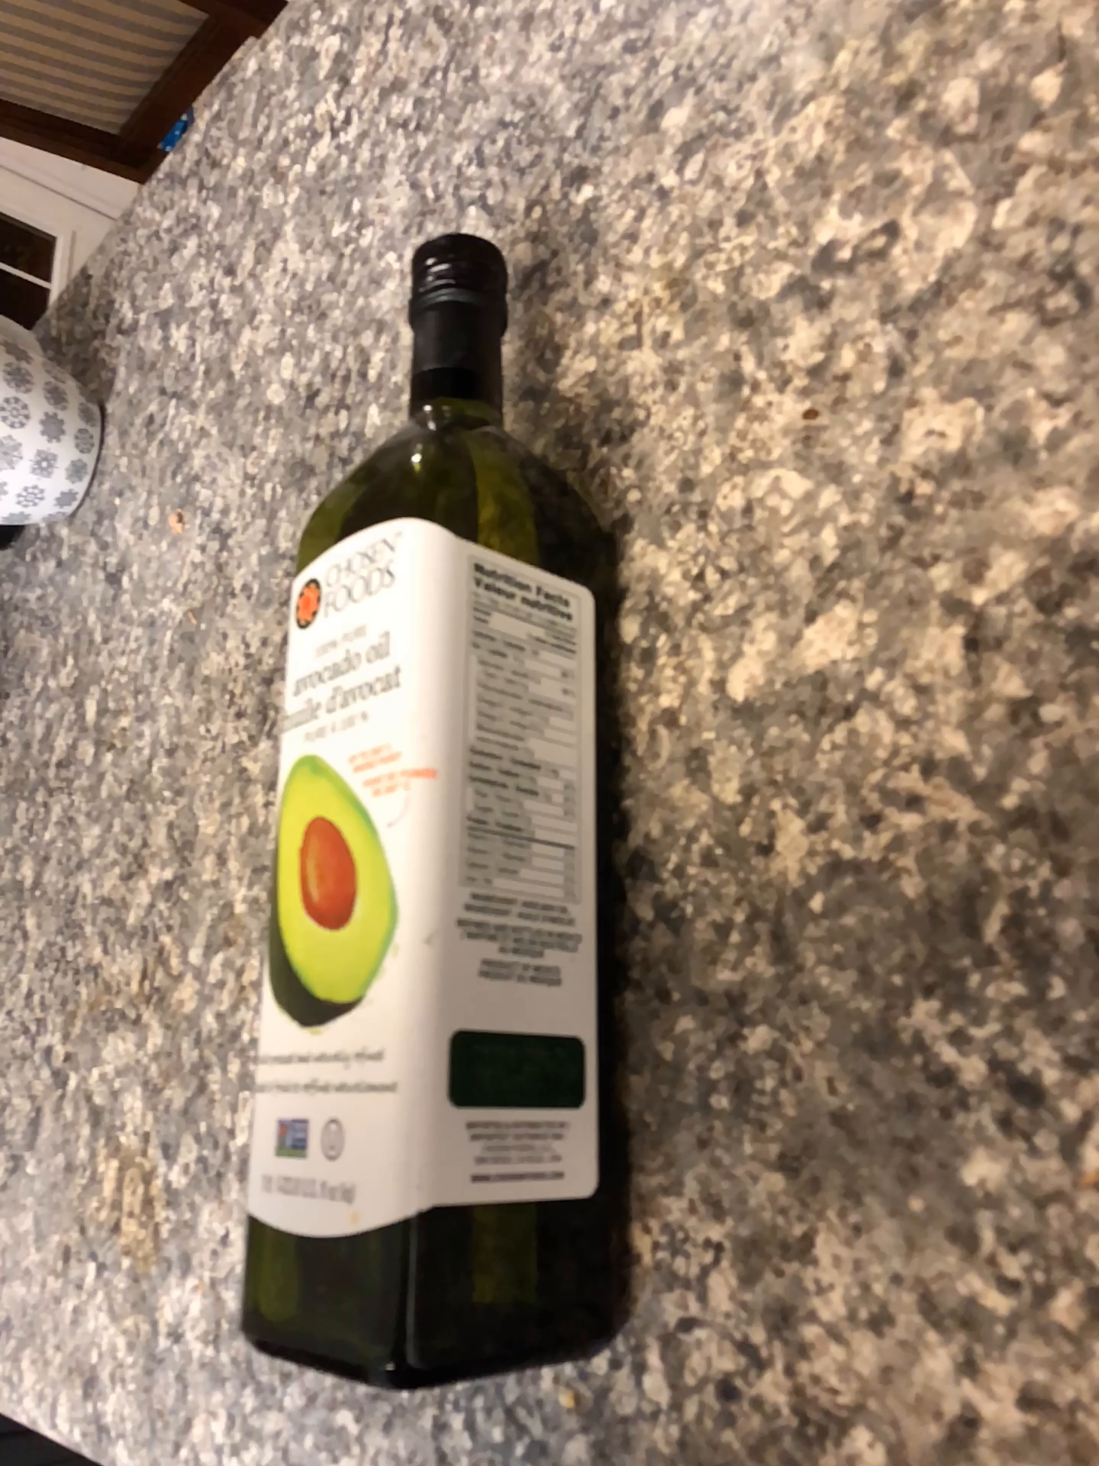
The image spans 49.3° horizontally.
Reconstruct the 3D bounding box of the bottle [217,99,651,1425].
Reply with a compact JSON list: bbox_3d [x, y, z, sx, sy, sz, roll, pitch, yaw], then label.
[{"bbox_3d":[-0.032,-0.003,0.331,0.080,0.070,0.320,-18,67,46],"label":"bottle"}]
